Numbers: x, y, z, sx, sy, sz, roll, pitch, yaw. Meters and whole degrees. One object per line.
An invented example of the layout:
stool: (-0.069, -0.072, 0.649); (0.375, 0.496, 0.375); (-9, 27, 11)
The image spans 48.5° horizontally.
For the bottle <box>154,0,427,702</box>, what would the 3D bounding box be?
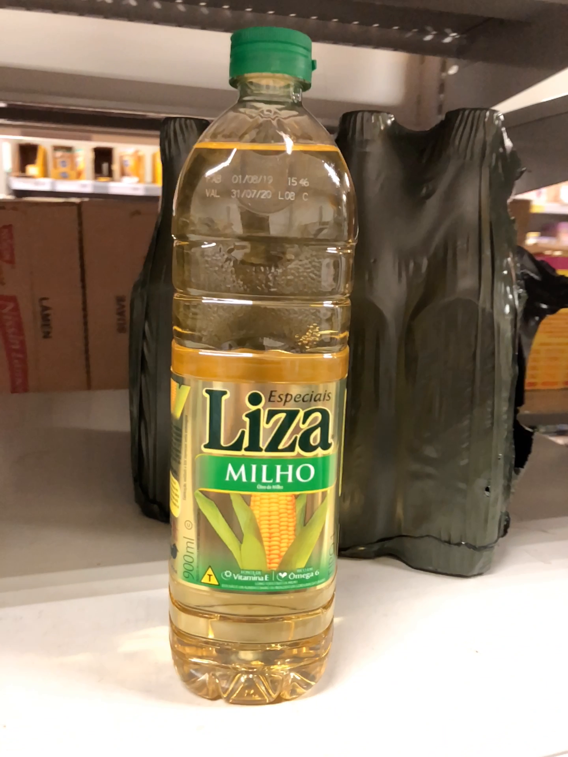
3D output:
bottle: (-0.003, -0.008, 0.247); (0.080, 0.249, 0.070); (0, 13, -5)
